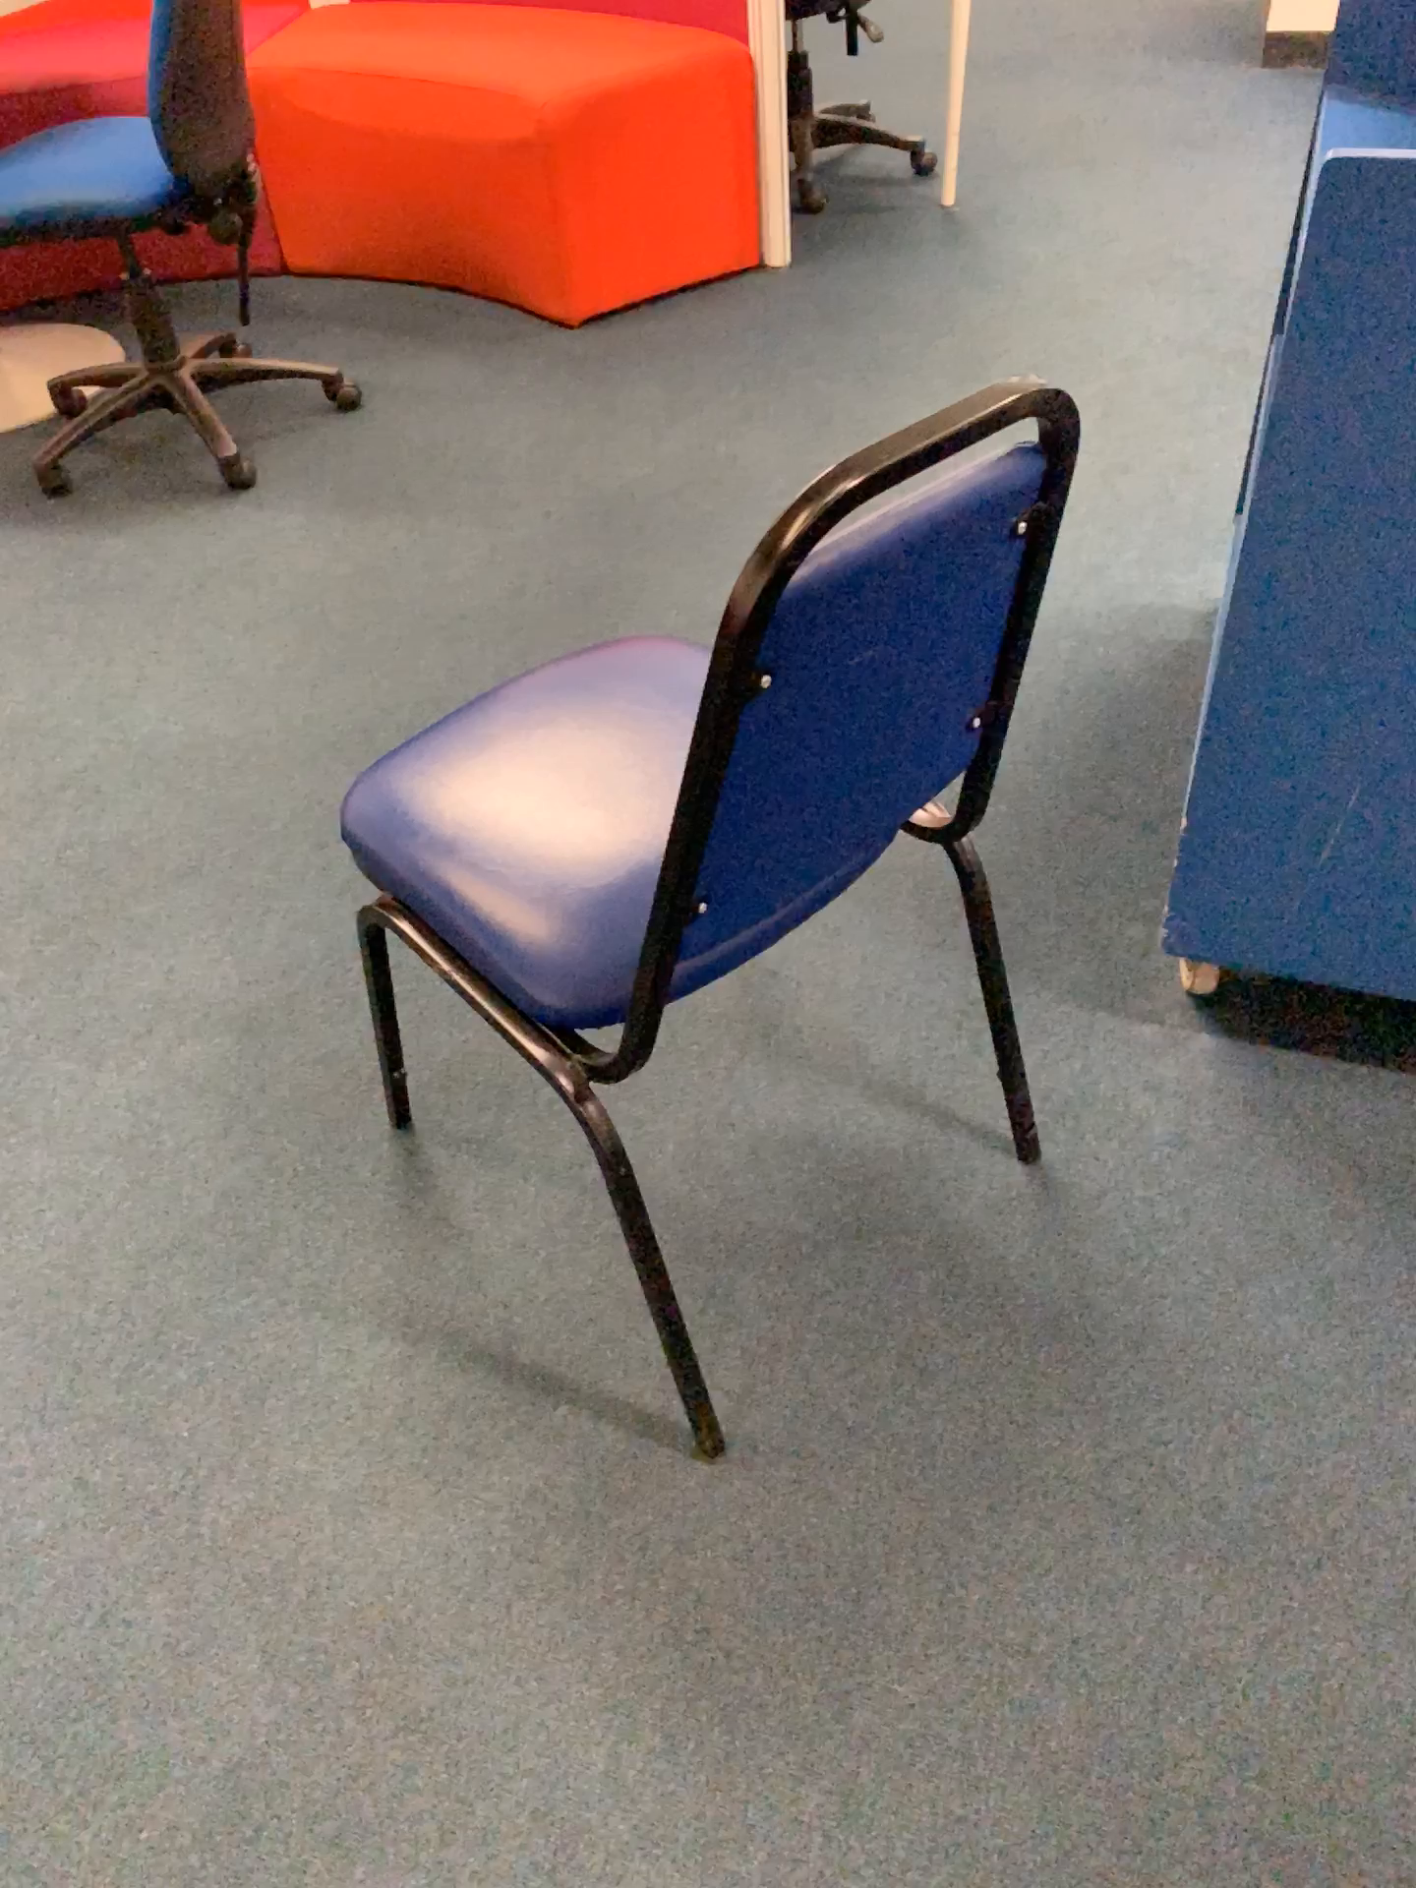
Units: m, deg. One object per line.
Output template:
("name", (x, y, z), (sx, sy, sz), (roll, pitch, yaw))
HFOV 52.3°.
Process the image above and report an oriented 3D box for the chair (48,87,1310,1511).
("chair", (-0.008, -0.116, 1.218), (0.562, 0.882, 0.583), (-33, 50, -26))
